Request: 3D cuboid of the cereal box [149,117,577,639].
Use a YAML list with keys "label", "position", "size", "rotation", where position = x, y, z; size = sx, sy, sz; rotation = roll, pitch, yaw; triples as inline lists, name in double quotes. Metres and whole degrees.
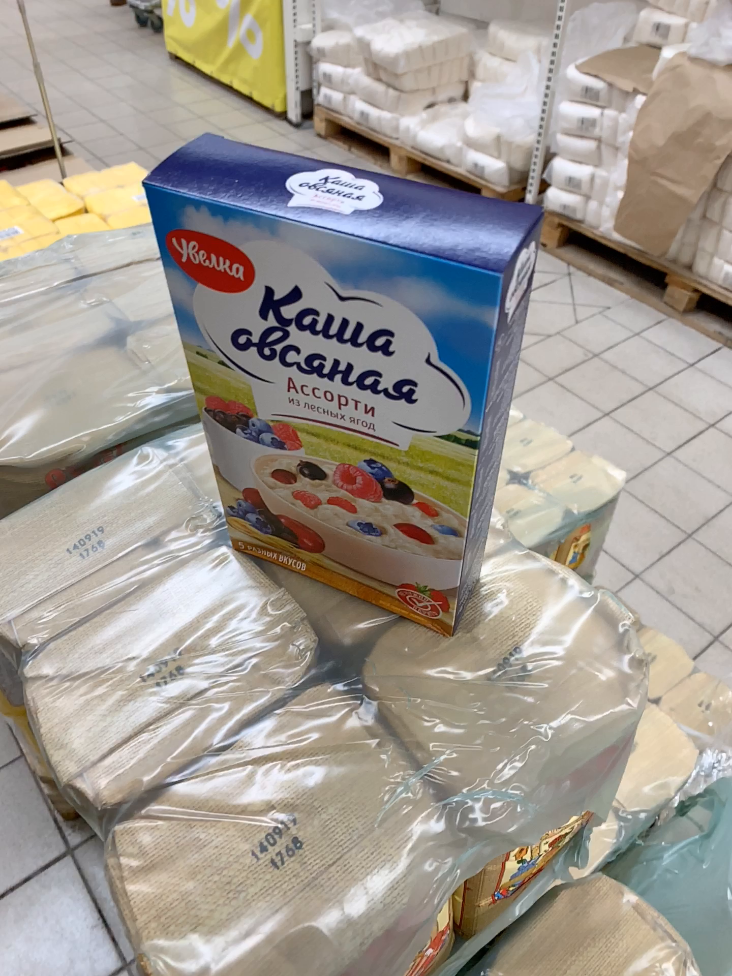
- label: "cereal box"
  position: [-0.002, -0.033, 0.317]
  size: [0.130, 0.198, 0.050]
  rotation: [19, 50, 16]
